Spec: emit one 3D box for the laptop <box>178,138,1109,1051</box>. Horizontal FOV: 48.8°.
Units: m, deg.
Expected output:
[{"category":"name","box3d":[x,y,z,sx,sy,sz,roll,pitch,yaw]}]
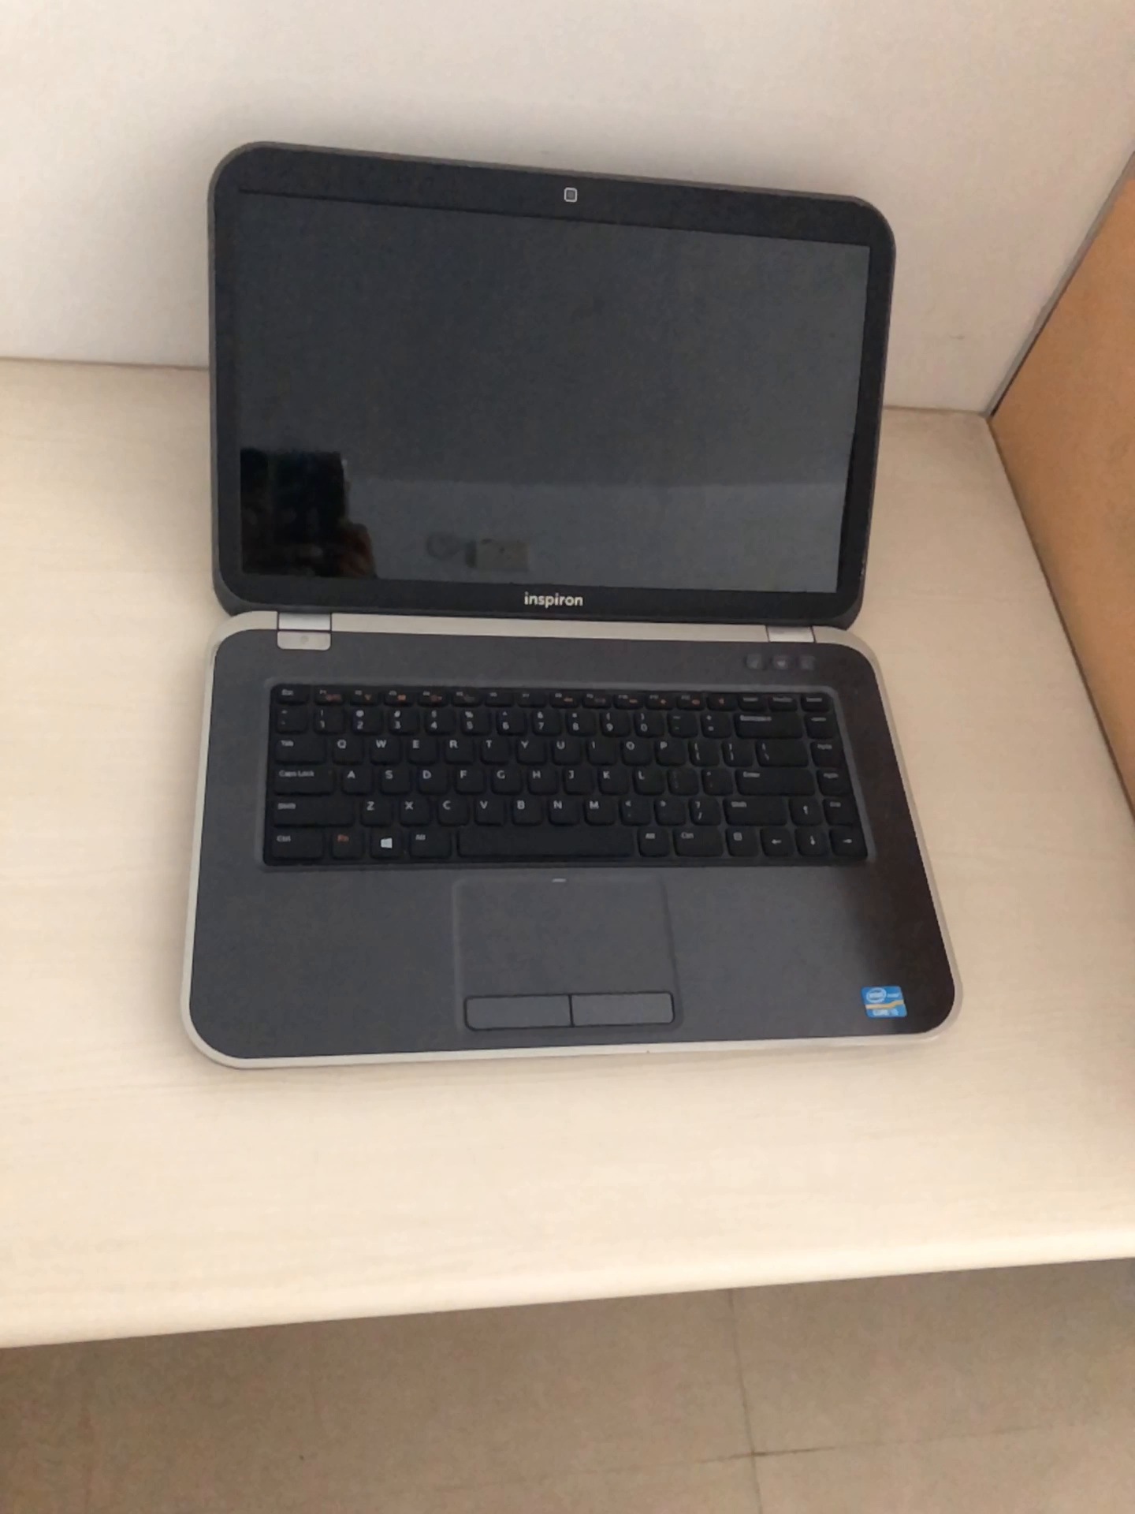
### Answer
[{"category":"laptop","box3d":[0.009,-0.088,0.610,0.339,0.152,0.410,1,59,-10]}]
